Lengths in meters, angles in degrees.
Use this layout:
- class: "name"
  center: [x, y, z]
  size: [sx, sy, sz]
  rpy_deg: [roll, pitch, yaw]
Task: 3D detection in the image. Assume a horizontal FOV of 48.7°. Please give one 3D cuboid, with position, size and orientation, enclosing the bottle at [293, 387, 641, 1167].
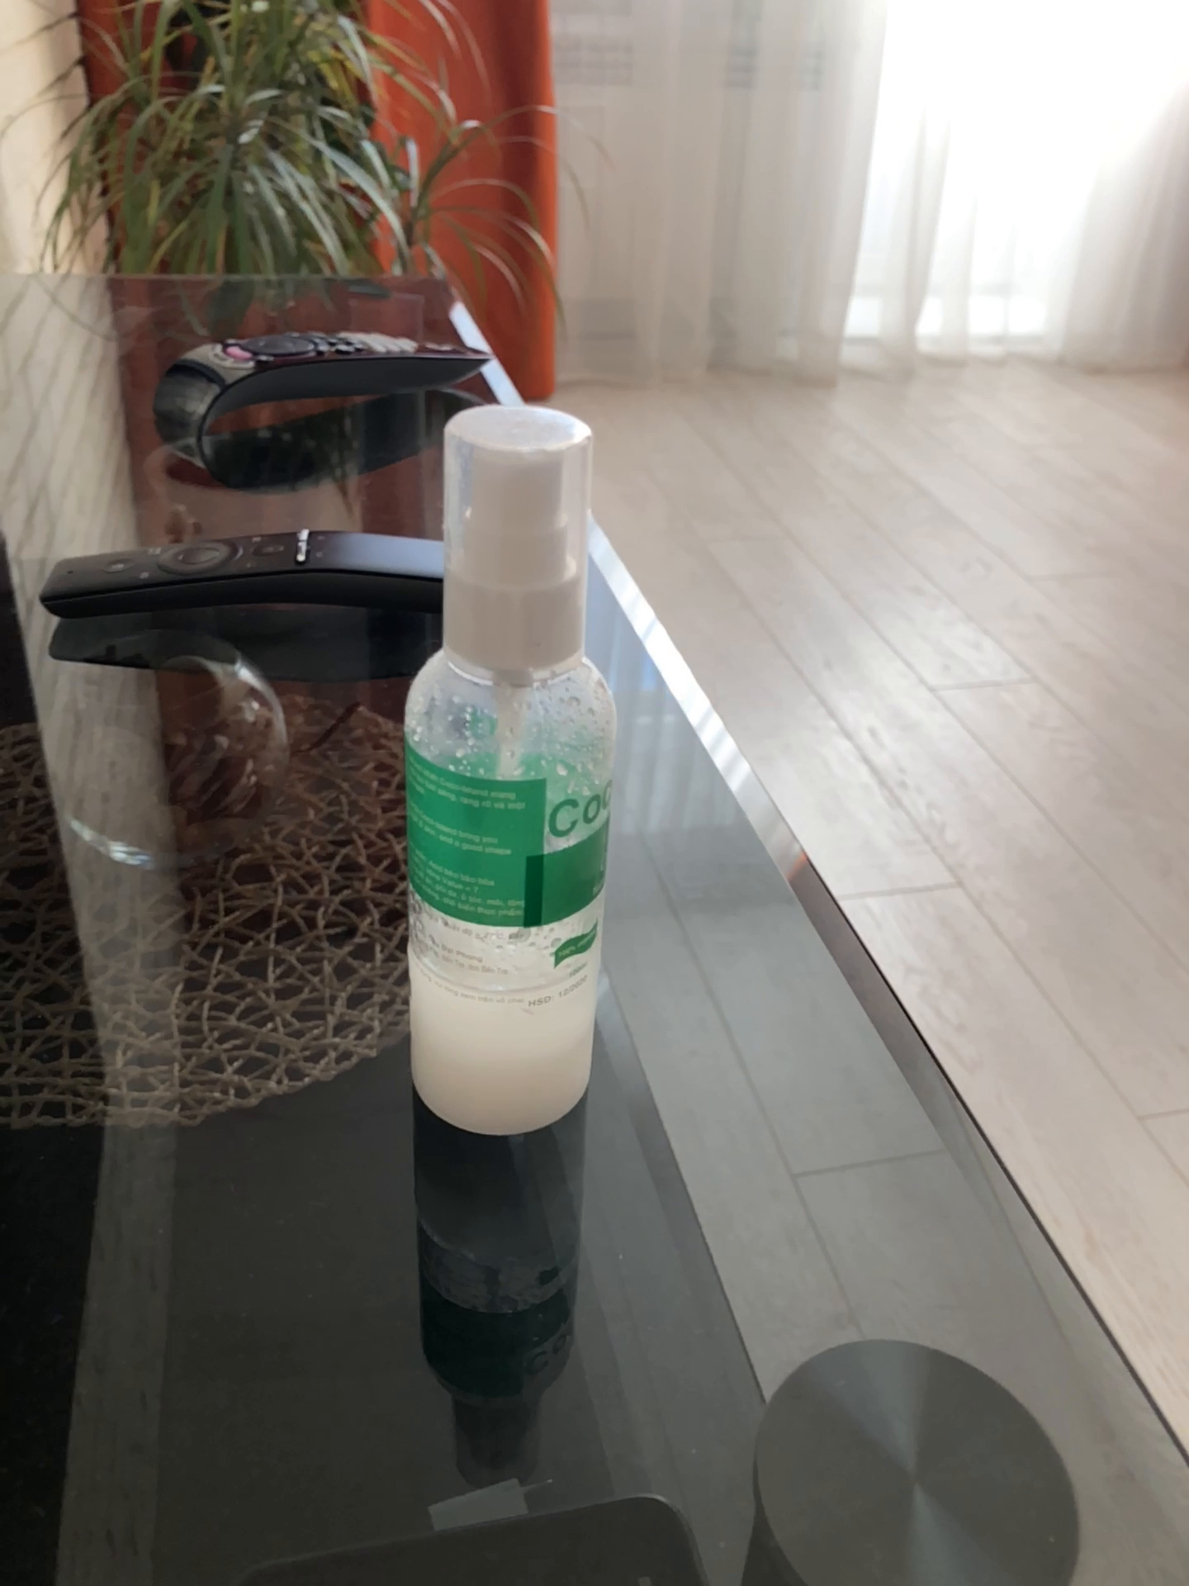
- class: "bottle"
  center: [-0.023, 0.001, 0.247]
  size: [0.050, 0.139, 0.050]
  rpy_deg: [2, 32, -1]
